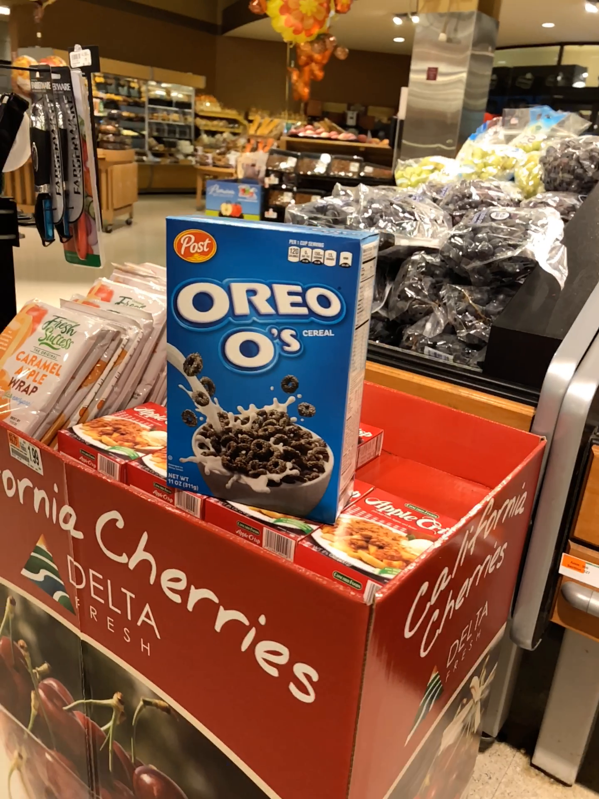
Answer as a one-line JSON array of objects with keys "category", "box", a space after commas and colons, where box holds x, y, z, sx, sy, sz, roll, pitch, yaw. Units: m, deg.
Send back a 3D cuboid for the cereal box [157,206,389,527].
[{"category": "cereal box", "box": [-0.032, -0.037, 0.646, 0.200, 0.278, 0.070, 9, 19, 17]}]
